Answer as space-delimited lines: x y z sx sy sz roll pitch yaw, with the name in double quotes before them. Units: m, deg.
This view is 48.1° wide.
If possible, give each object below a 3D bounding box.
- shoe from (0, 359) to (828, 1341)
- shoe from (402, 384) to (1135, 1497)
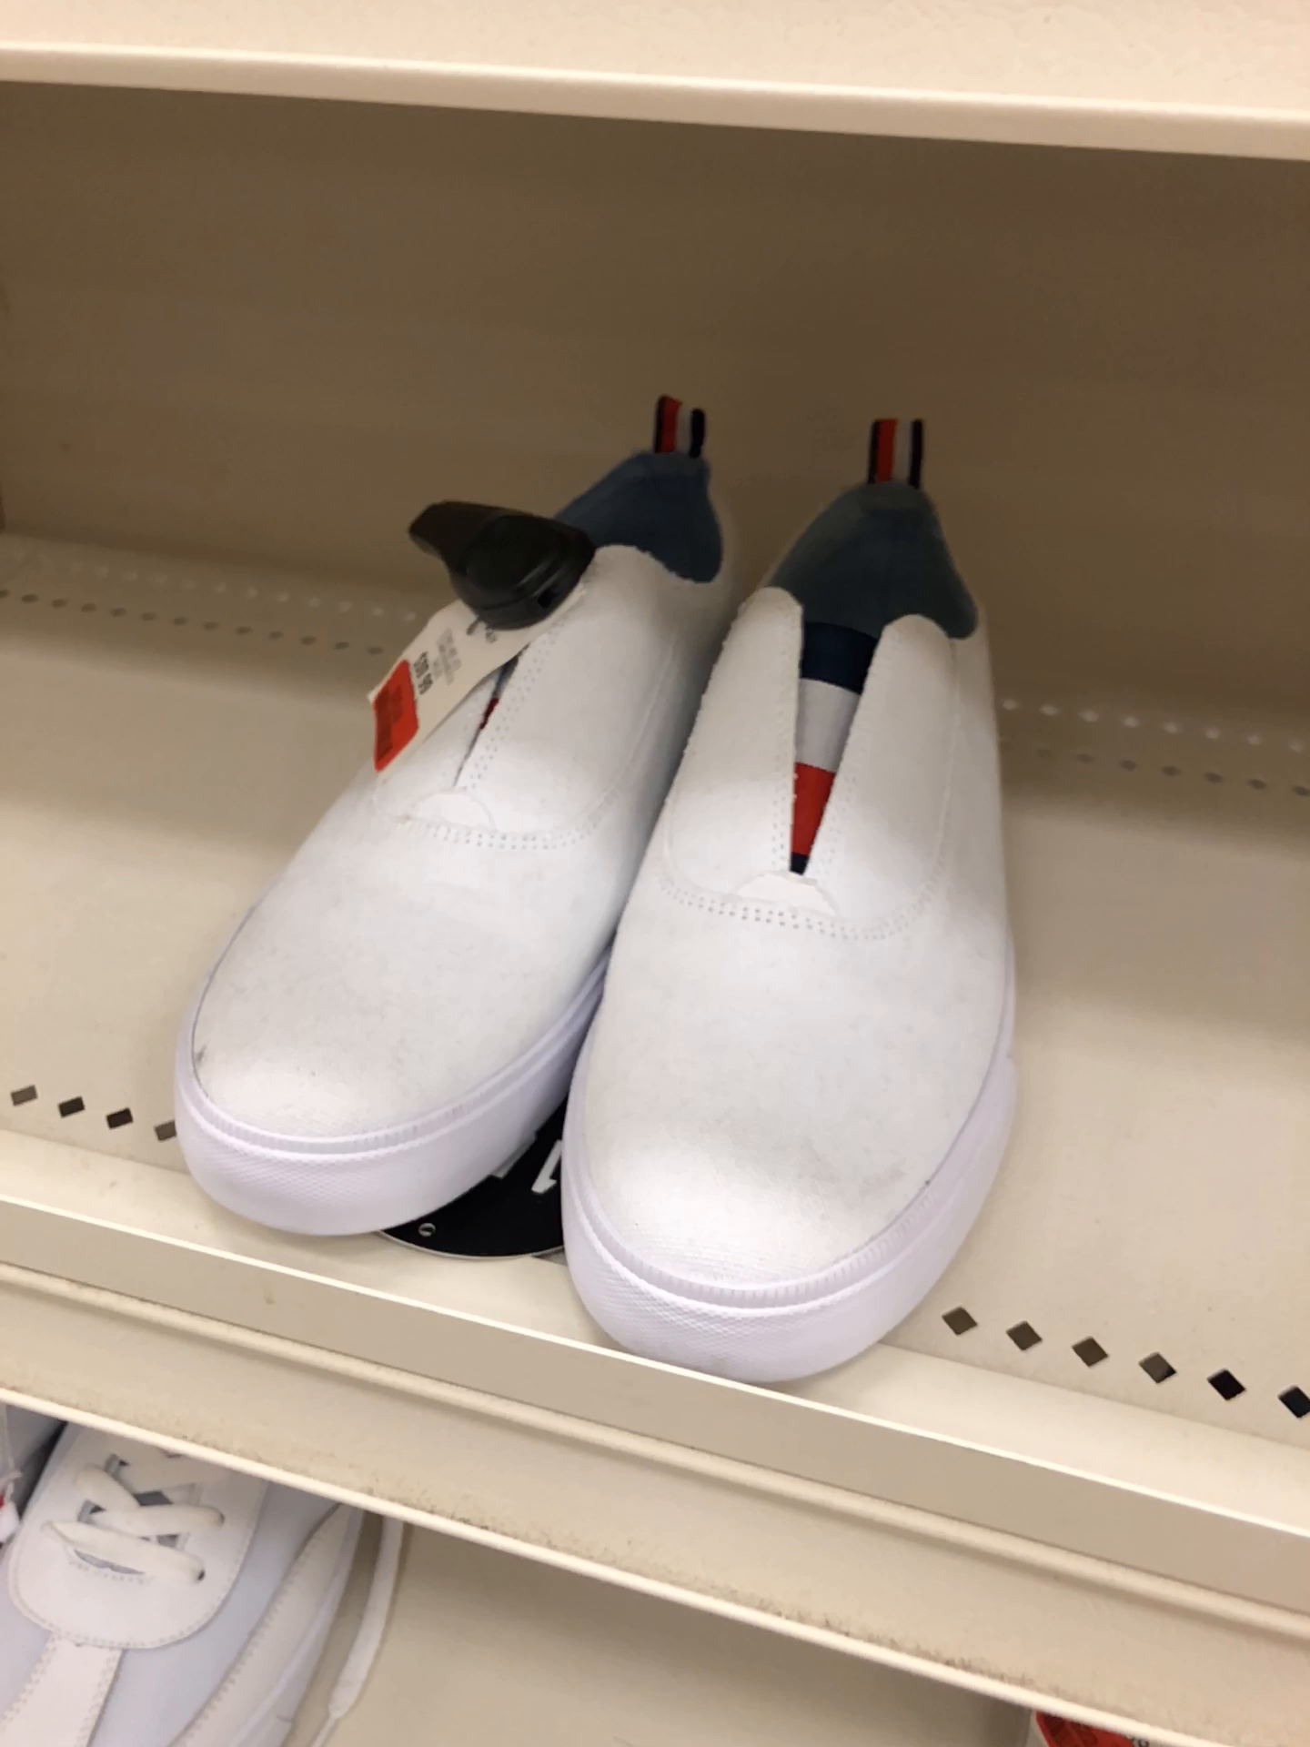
"shoe" -0.039 -0.040 0.366 0.100 0.089 0.292 10 35 14
"shoe" 0.053 -0.022 0.368 0.100 0.109 0.303 10 35 14
